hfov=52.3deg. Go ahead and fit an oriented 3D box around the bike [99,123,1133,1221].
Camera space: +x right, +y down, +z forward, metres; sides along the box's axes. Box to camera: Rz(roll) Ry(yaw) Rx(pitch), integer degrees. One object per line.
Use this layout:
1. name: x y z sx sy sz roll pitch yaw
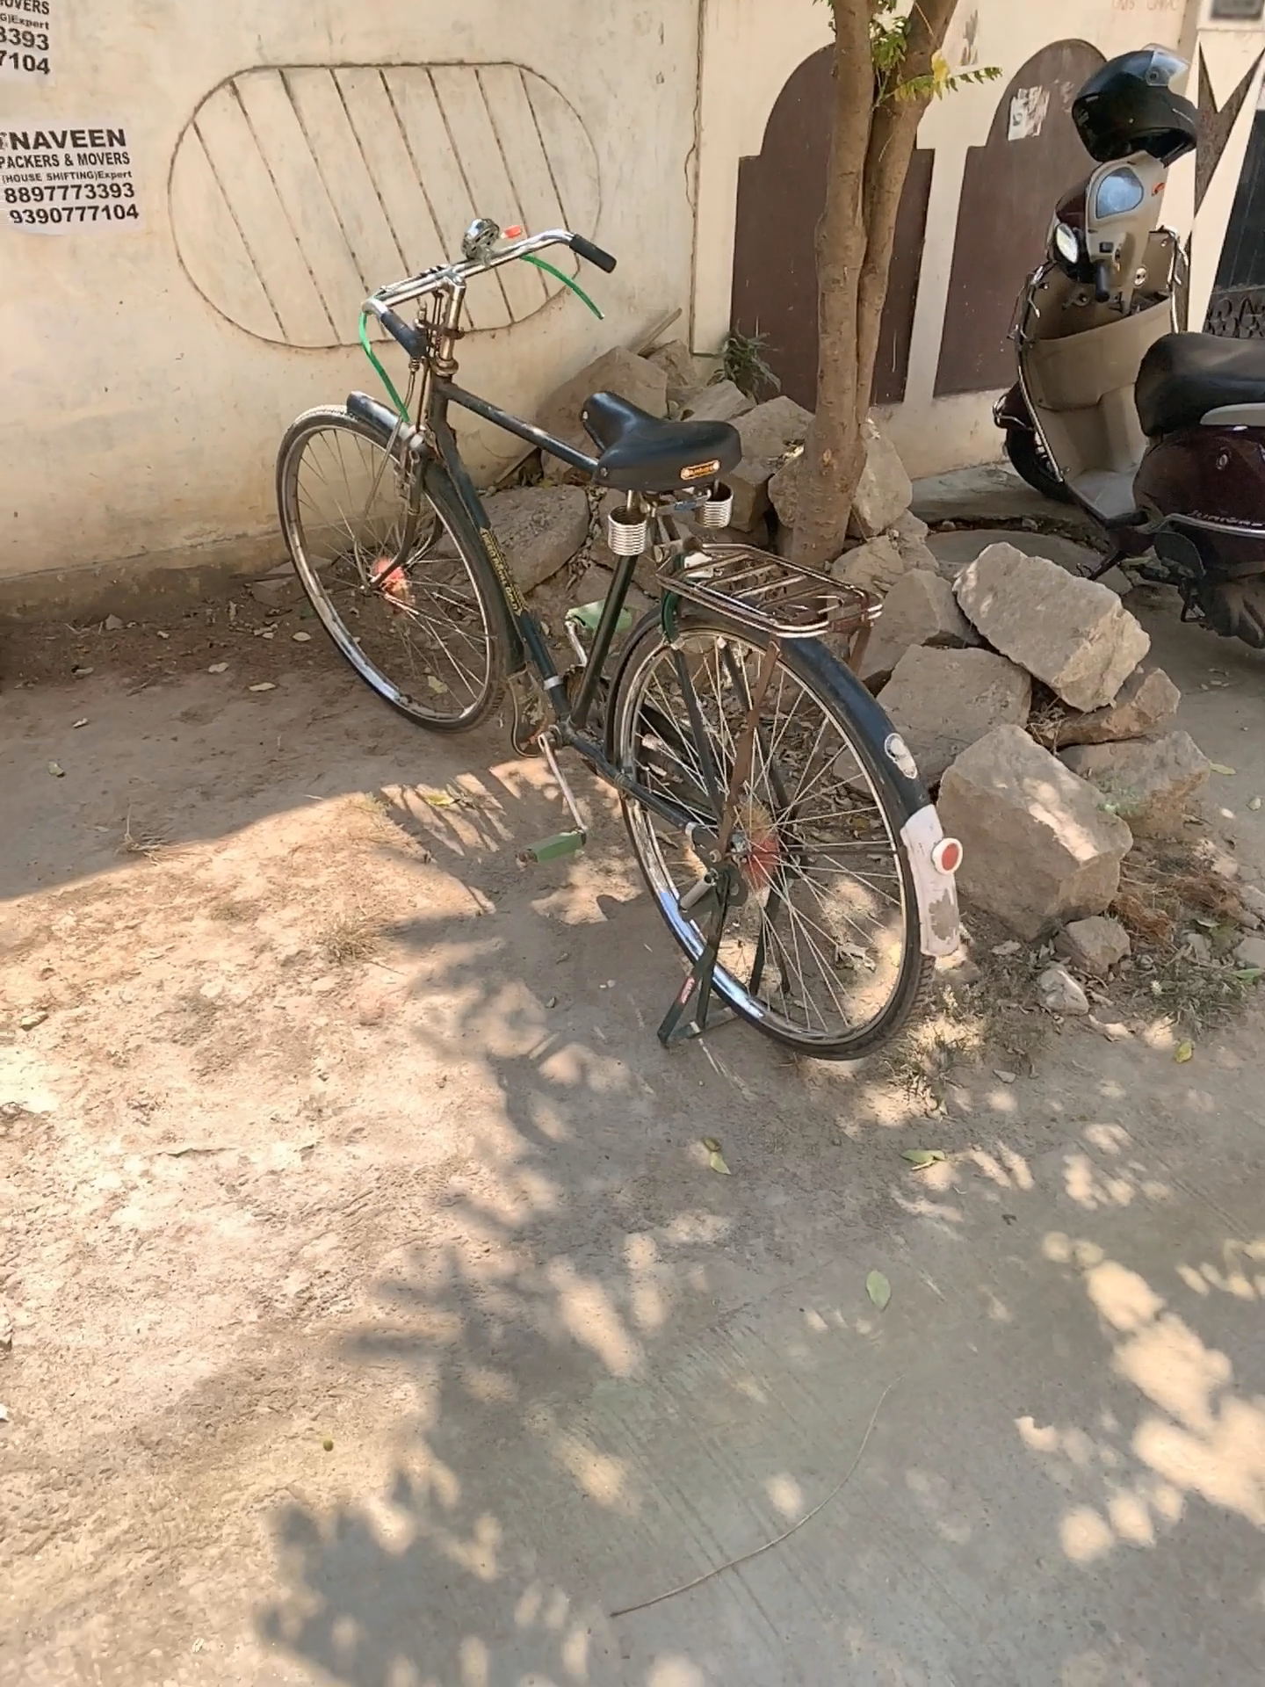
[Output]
1. bike: -0.171 -0.409 2.054 0.466 0.994 1.657 -24 45 -33
